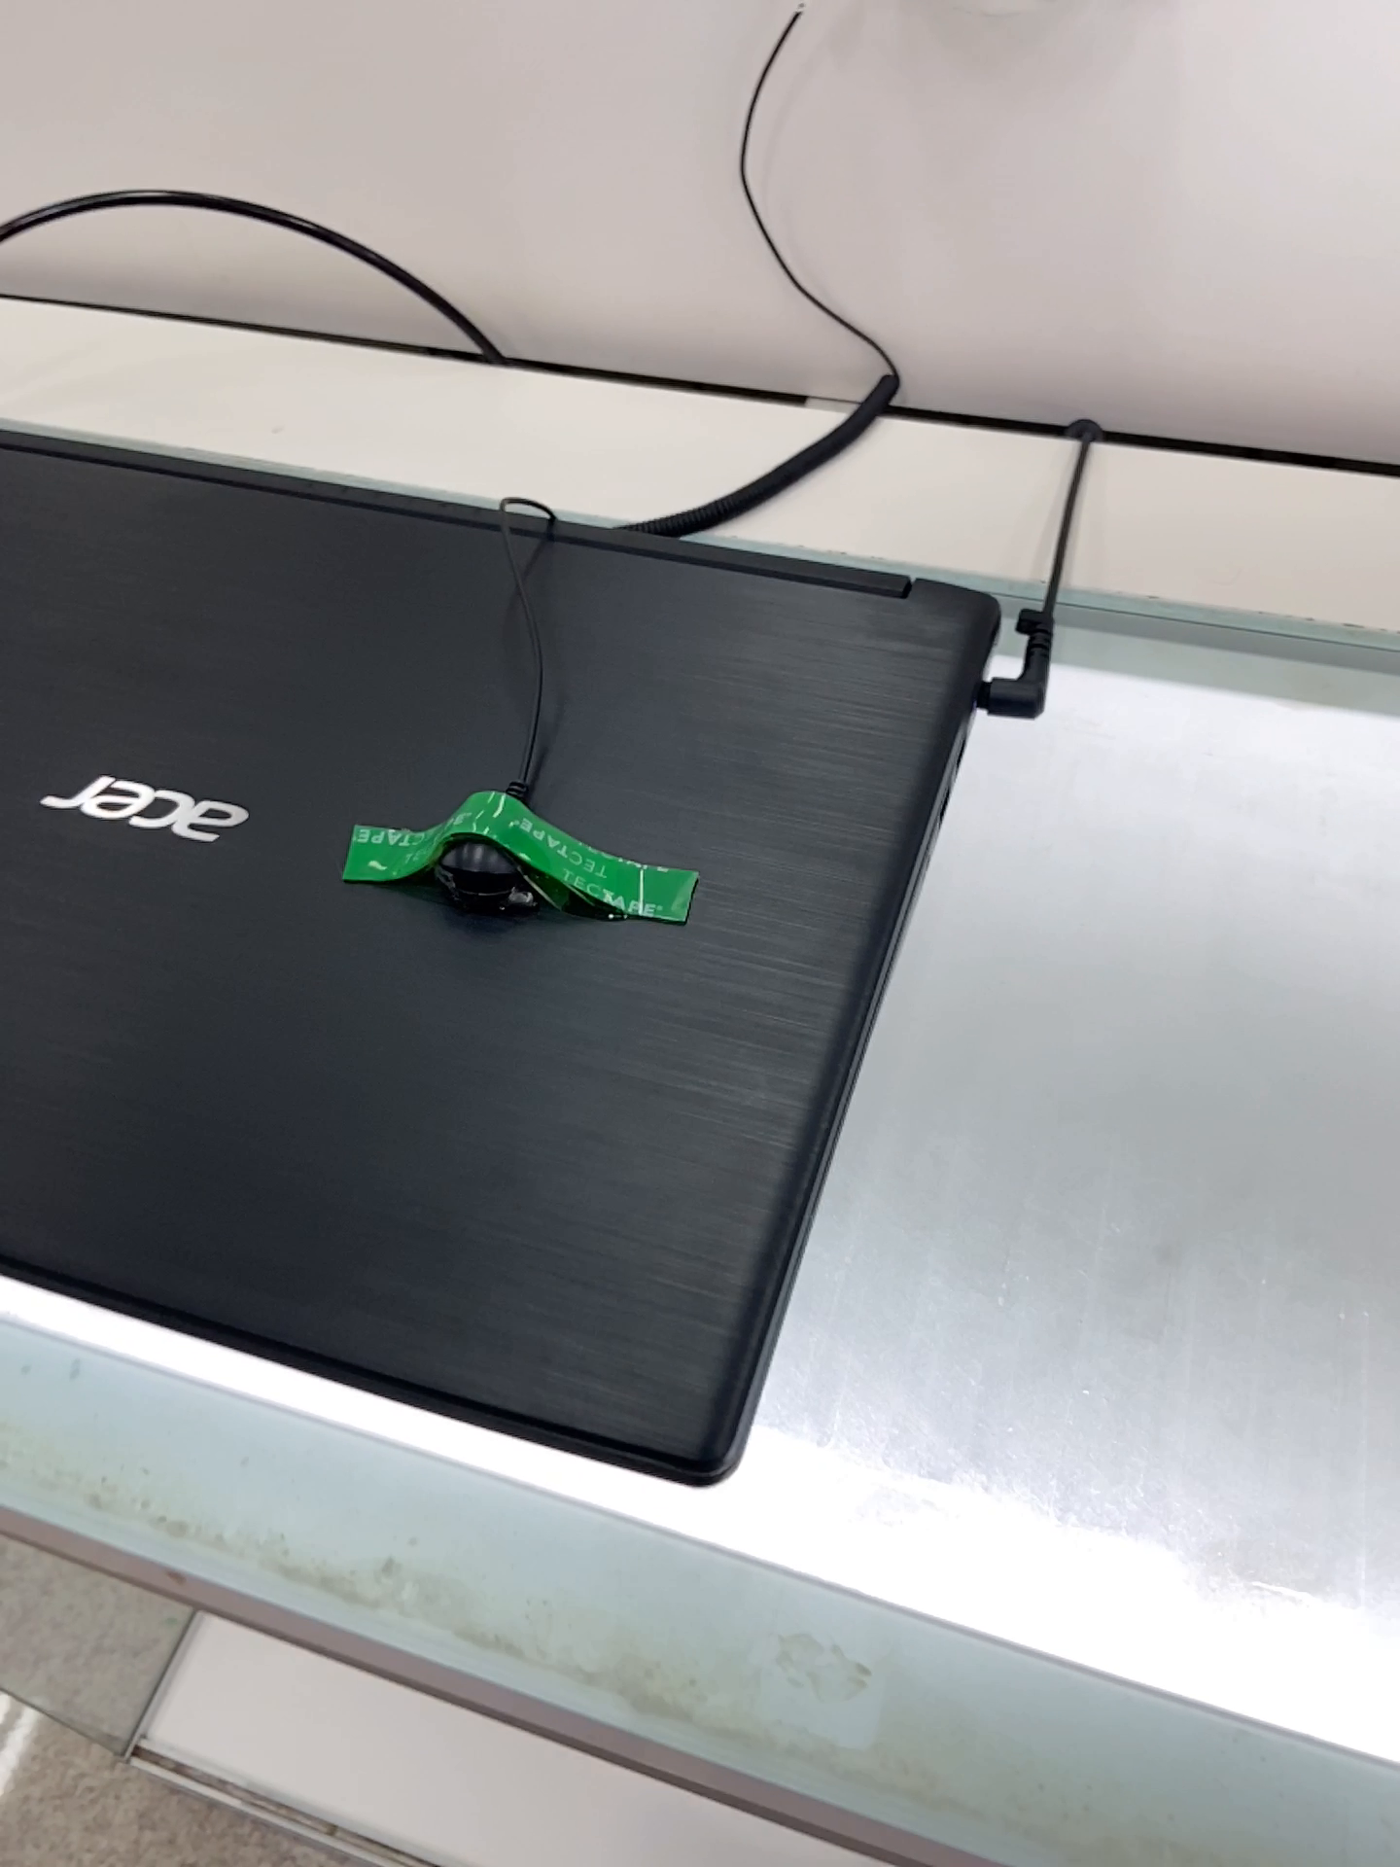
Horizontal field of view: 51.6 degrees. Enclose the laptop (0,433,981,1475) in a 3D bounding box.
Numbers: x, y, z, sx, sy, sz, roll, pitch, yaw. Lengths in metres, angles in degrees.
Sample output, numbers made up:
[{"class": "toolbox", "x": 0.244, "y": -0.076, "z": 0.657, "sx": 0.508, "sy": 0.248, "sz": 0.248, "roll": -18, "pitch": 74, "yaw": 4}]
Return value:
[{"class": "laptop", "x": -0.144, "y": -0.037, "z": 0.373, "sx": 0.386, "sy": 0.001, "sz": 0.248, "roll": 12, "pitch": 53, "yaw": 14}]
